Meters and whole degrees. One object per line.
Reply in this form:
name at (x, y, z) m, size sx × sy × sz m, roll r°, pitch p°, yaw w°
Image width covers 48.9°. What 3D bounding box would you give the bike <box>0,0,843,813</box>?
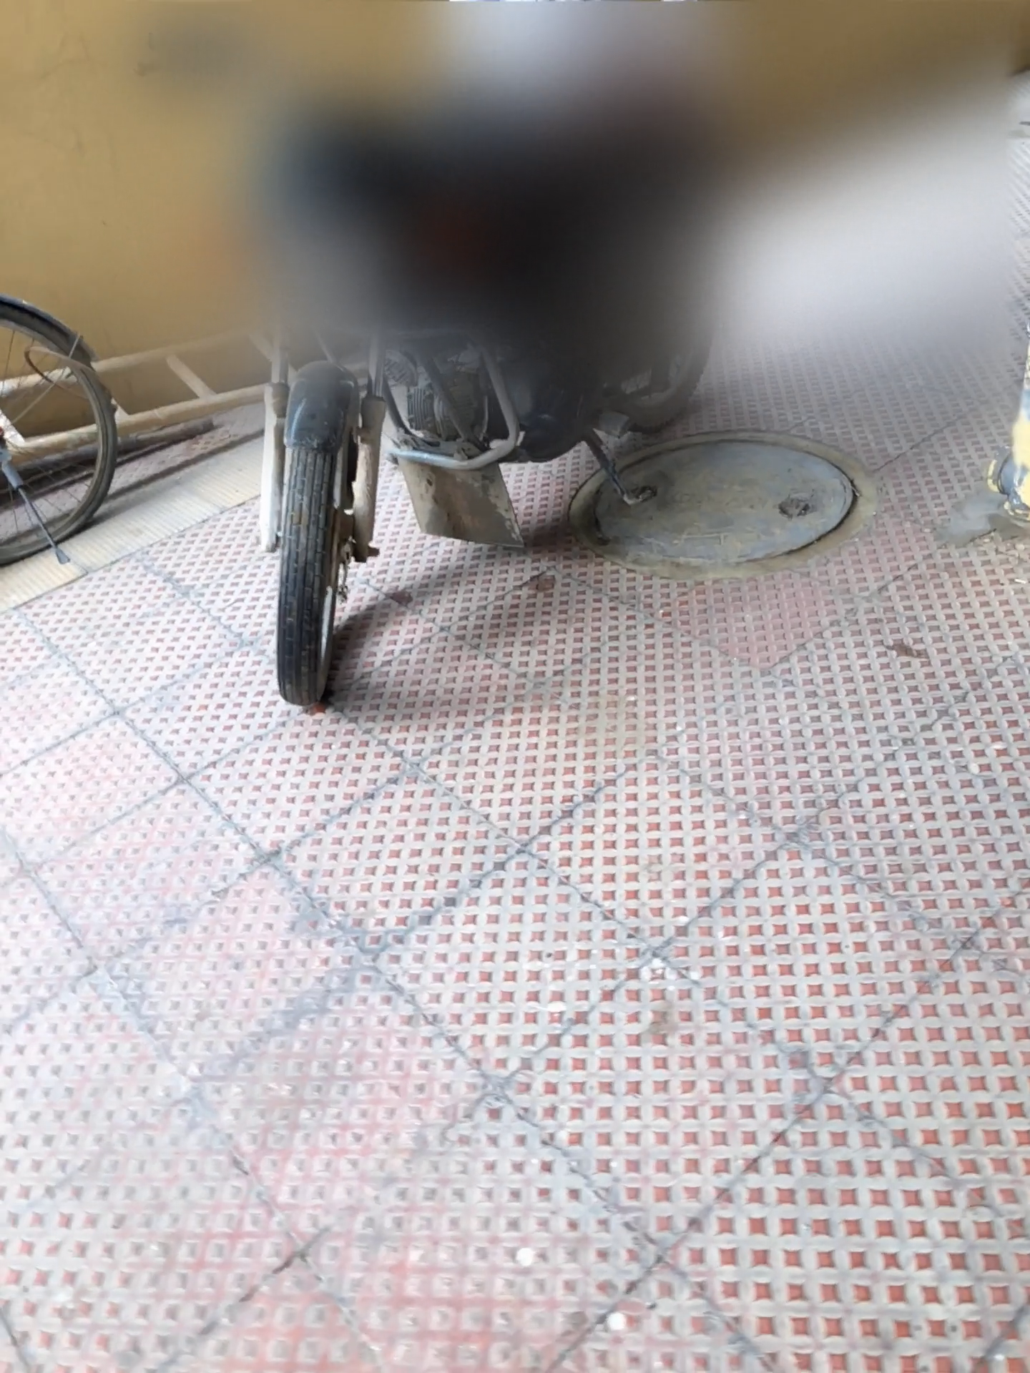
bike at (-0.041, -0.757, 2.194) m, size 0.759 × 0.974 × 1.606 m, roll 16°, pitch 45°, yaw 30°
